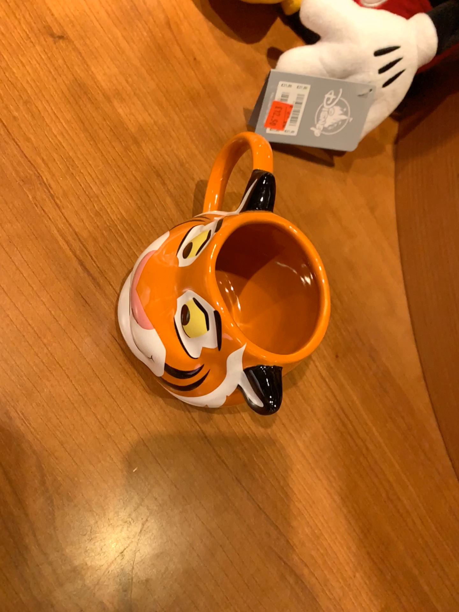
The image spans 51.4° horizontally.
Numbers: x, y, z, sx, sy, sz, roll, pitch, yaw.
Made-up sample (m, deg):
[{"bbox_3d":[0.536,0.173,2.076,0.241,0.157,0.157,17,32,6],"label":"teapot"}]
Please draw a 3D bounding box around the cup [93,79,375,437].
[{"bbox_3d":[-0.001,-0.010,0.251,0.107,0.087,0.150,9,72,-32],"label":"cup"}]
